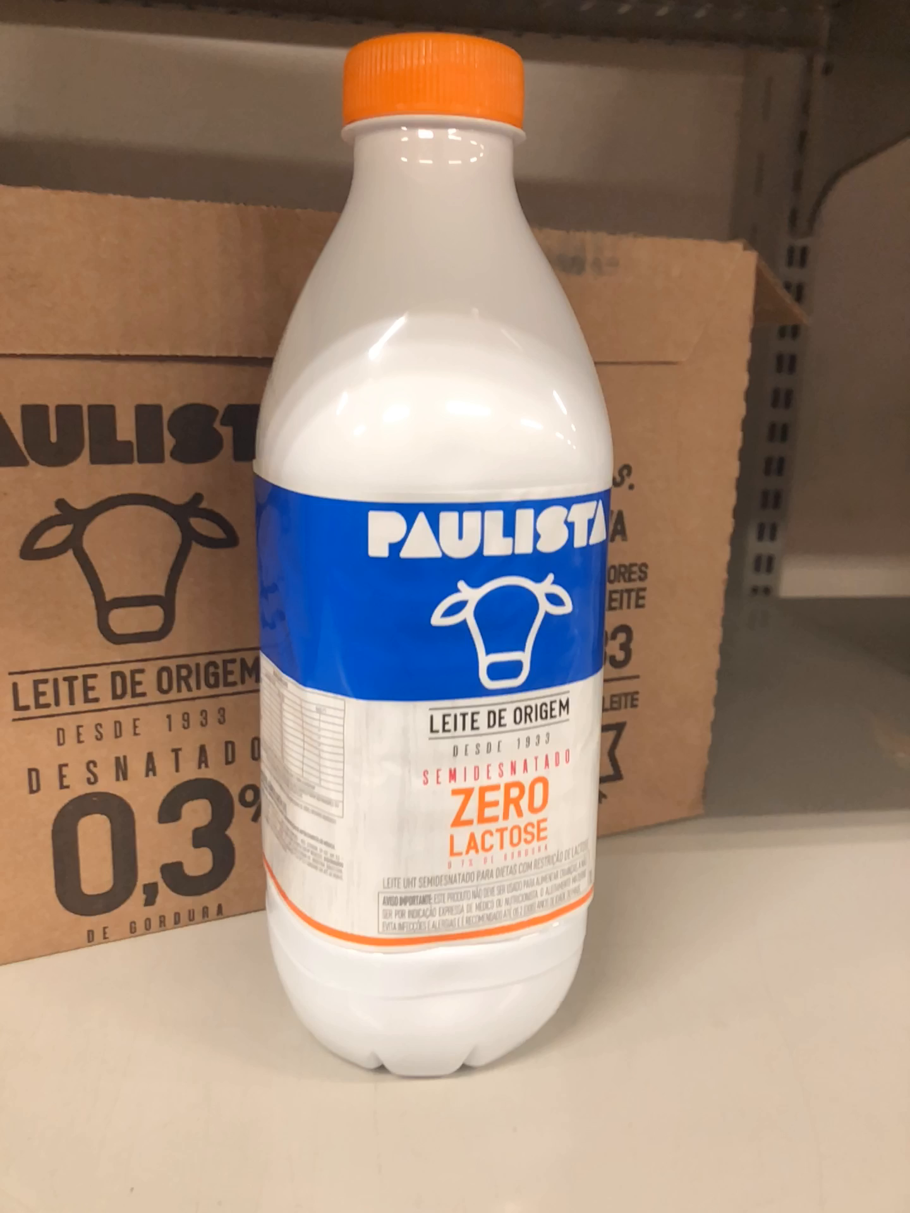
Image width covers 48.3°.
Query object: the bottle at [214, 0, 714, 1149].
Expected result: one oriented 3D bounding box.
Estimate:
[{"bbox_3d":[-0.006,-0.009,0.238,0.080,0.229,0.080,1,14,0],"label":"bottle"}]
